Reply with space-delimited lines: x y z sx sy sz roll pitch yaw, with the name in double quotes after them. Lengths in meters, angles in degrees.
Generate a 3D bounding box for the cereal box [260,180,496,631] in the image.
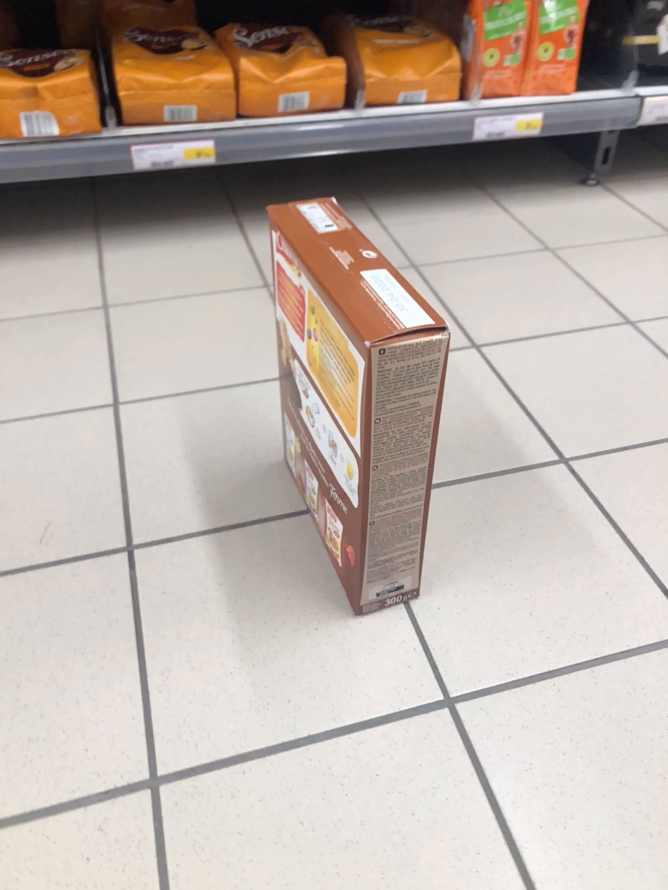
0.016 -0.031 0.546 0.070 0.249 0.211 -13 42 -16 "cereal box"
